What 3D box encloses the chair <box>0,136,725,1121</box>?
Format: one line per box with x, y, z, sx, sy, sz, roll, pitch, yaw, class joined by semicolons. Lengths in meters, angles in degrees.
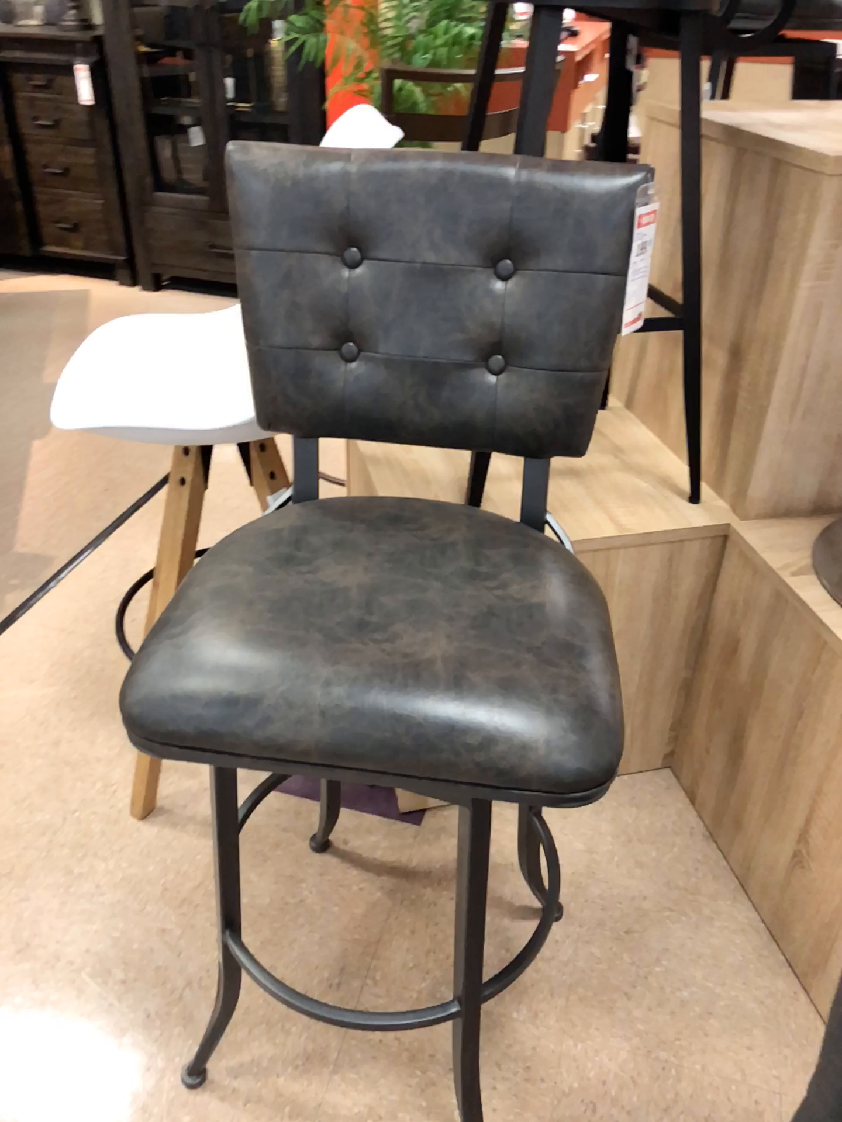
-0.037;0.157;1.066;0.518;1.108;0.514;6;33;9;chair
